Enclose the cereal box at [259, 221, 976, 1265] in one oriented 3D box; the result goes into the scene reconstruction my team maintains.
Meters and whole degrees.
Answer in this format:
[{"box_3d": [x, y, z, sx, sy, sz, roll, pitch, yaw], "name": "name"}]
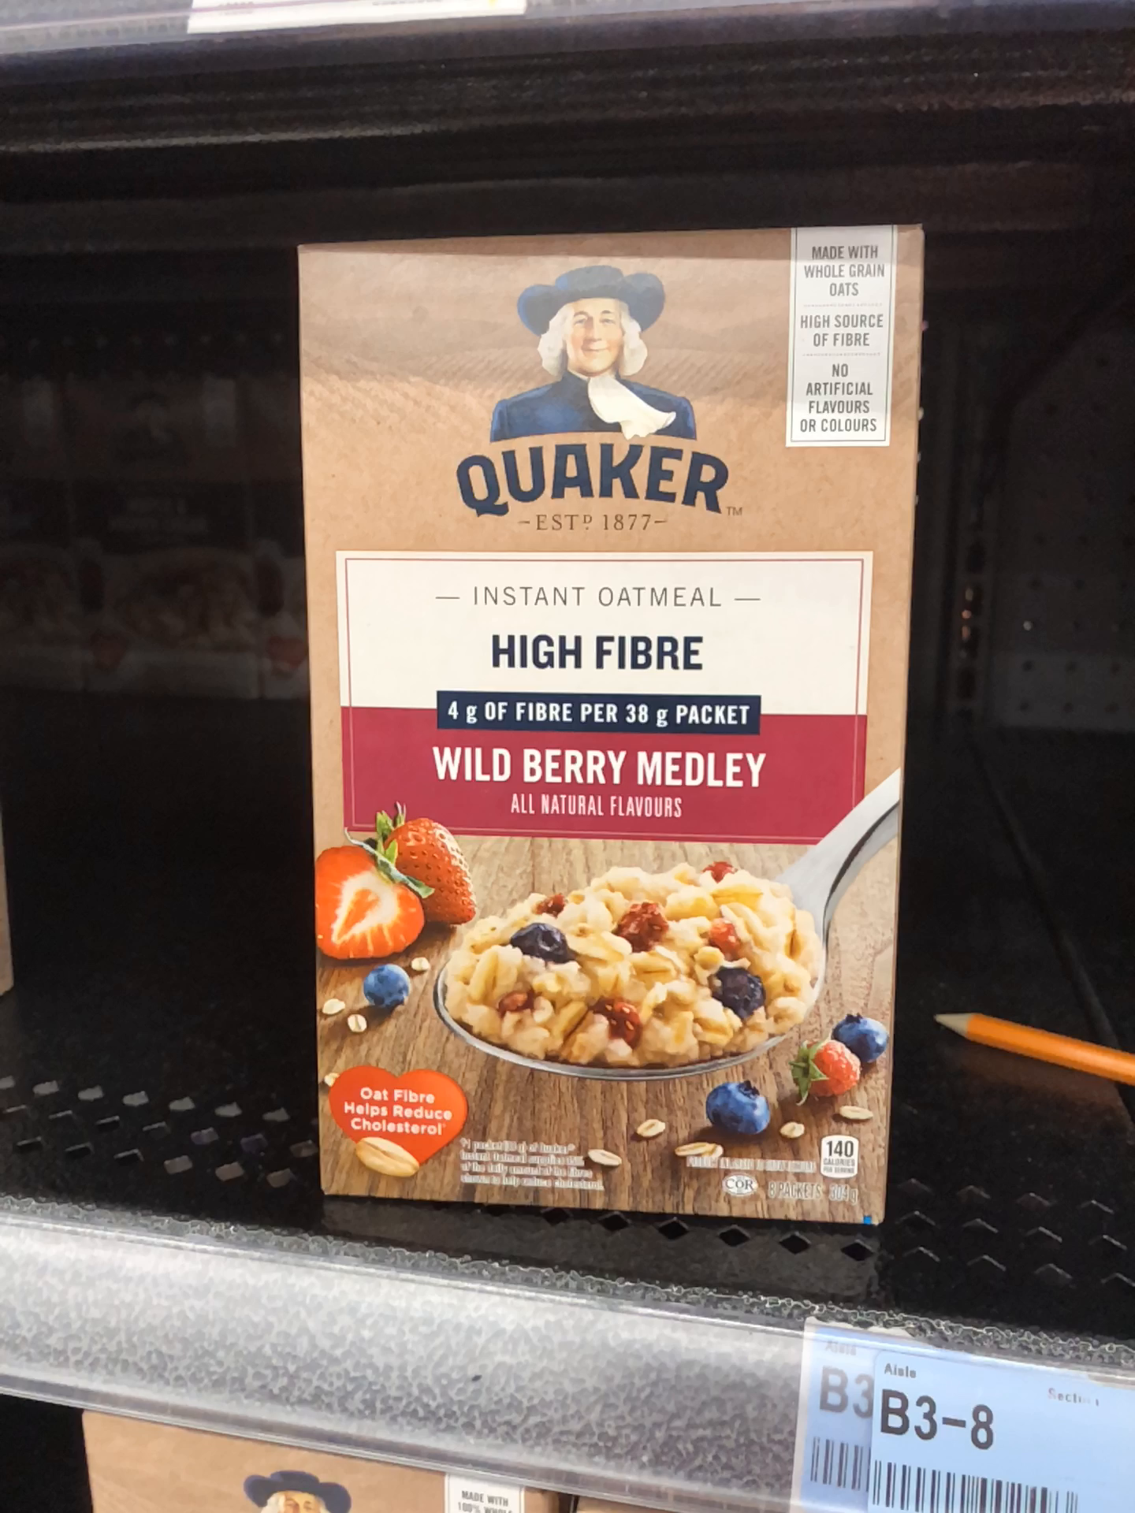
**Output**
[{"box_3d": [0.010, -0.004, 0.281, 0.130, 0.200, 0.070, 1, 9, 5], "name": "cereal box"}]
